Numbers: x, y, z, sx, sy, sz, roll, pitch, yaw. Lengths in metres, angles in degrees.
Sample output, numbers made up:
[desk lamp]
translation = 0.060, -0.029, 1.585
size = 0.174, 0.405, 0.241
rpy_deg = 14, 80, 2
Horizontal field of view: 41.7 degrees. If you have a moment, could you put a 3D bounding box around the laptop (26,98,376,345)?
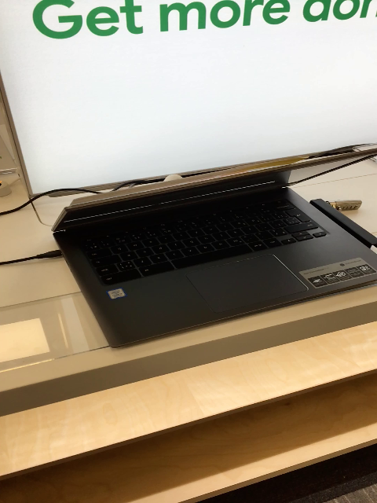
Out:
[laptop]
translation = 0.026, -0.049, 0.570
size = 0.335, 0.148, 0.225
rpy_deg = -15, 42, -13
